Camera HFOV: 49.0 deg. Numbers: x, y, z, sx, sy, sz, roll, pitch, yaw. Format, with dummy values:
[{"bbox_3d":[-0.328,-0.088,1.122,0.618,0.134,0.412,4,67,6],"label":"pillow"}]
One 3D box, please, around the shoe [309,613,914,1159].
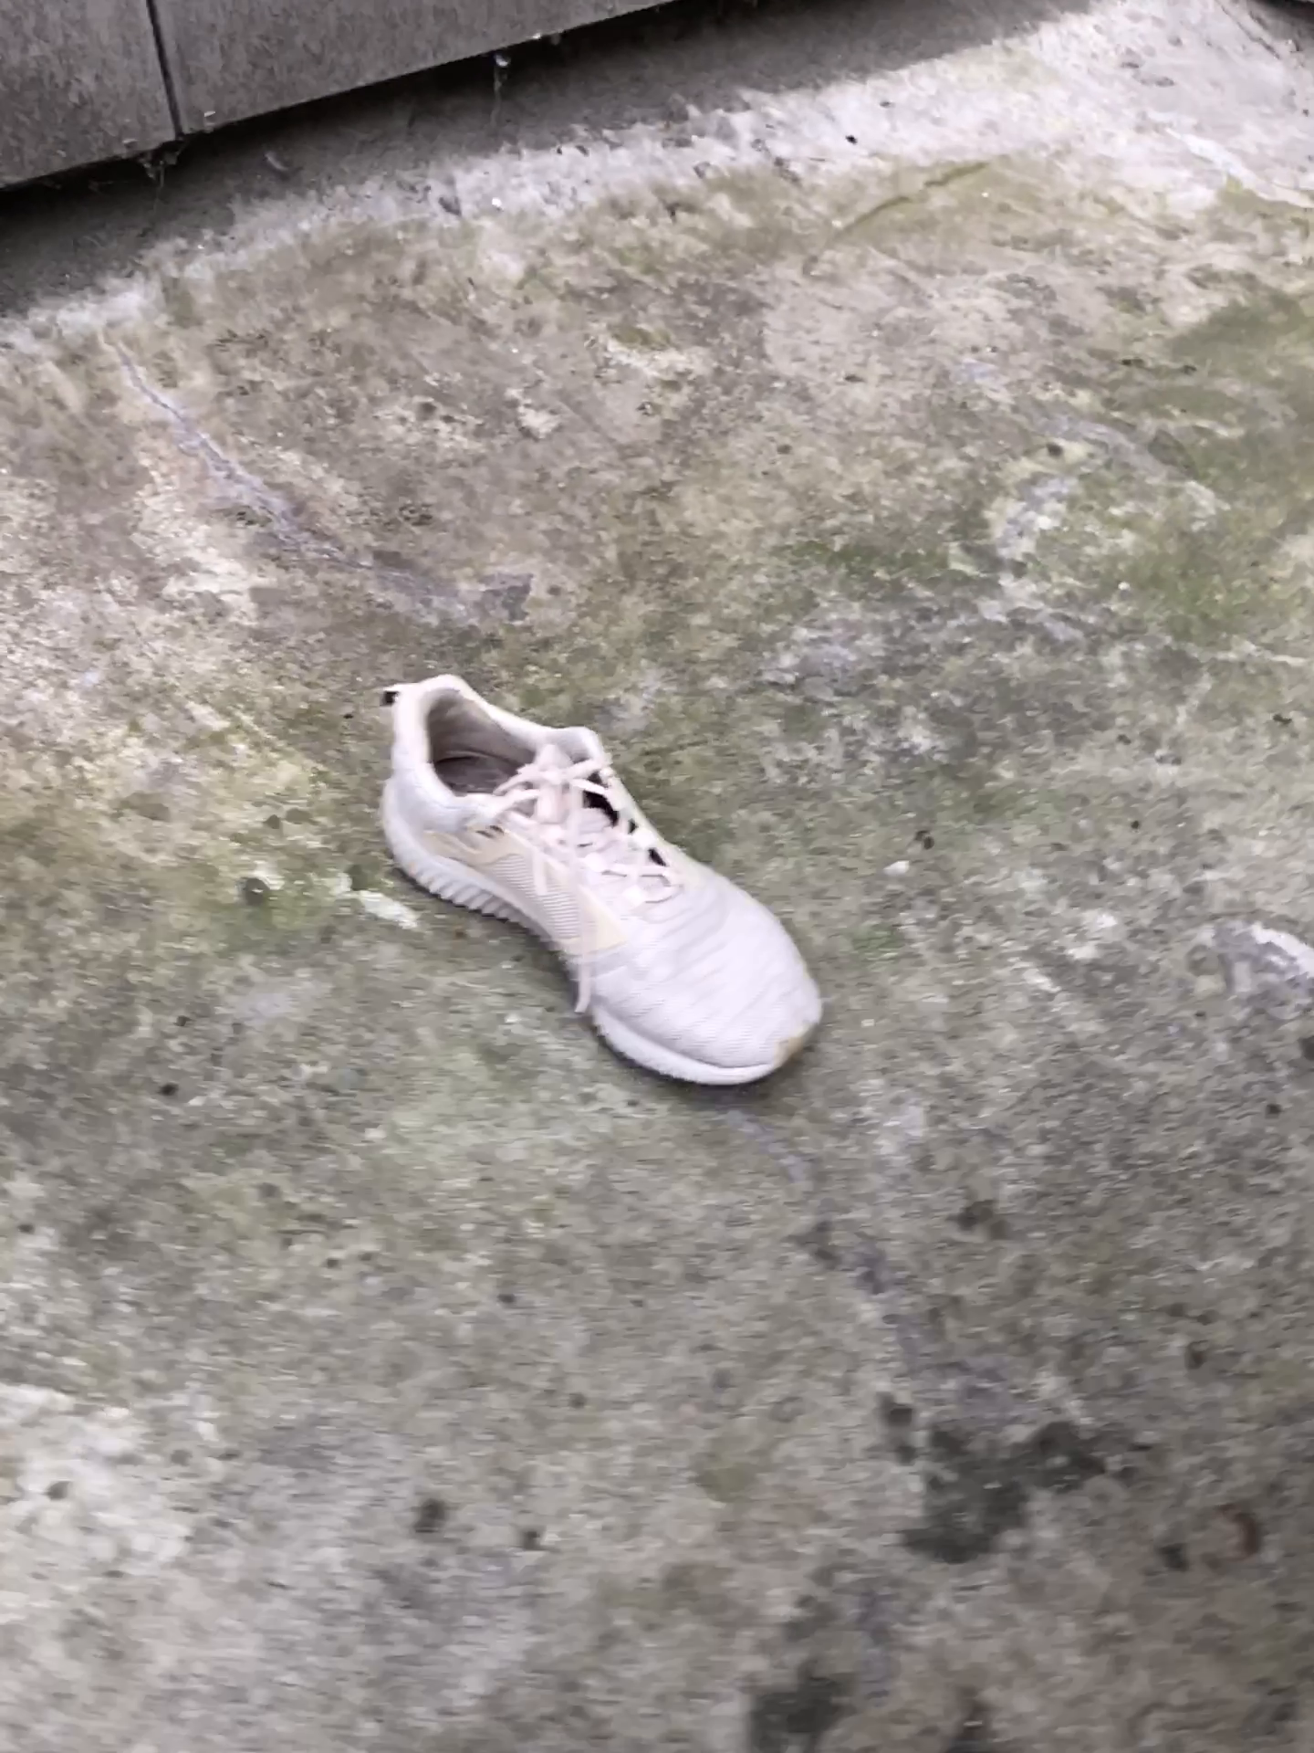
[{"bbox_3d":[-0.031,-0.006,0.757,0.301,0.109,0.120,33,54,27],"label":"shoe"}]
